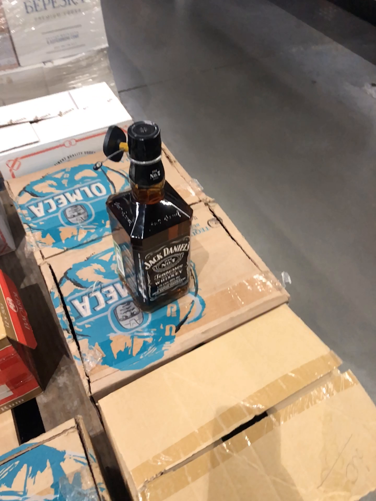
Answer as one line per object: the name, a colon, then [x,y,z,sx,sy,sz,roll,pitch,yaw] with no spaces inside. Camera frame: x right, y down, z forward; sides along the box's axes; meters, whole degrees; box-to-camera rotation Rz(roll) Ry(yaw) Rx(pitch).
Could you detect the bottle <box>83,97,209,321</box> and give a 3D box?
bottle: [-0.053,-0.044,0.607,0.110,0.308,0.110,0,49,0]
